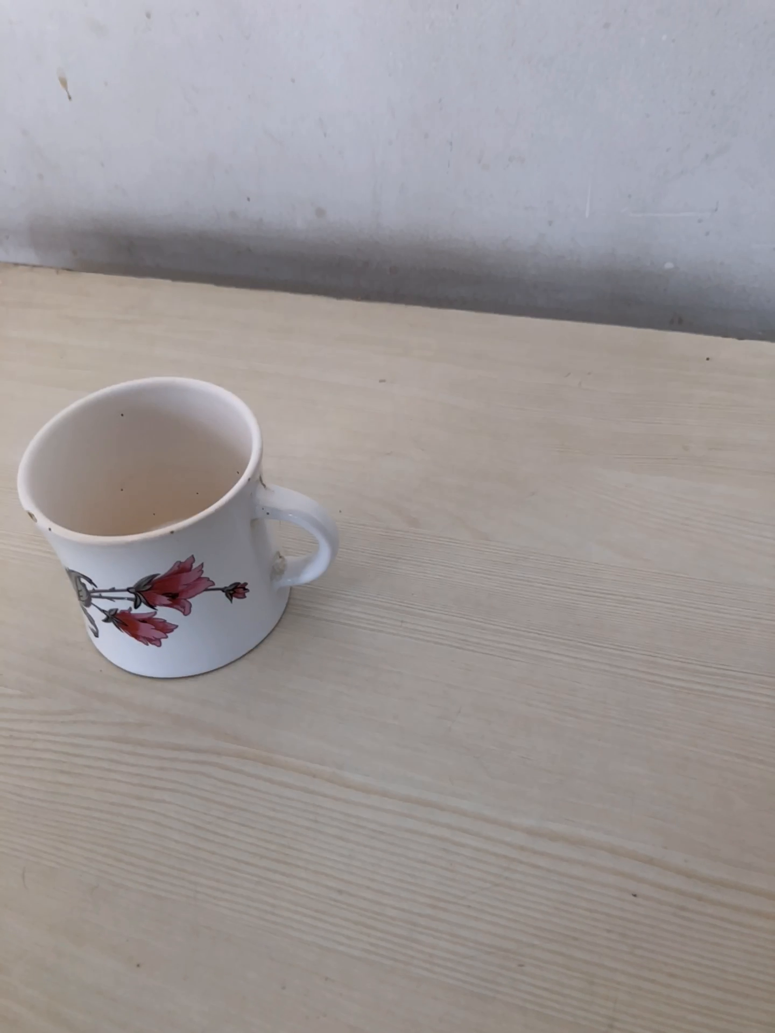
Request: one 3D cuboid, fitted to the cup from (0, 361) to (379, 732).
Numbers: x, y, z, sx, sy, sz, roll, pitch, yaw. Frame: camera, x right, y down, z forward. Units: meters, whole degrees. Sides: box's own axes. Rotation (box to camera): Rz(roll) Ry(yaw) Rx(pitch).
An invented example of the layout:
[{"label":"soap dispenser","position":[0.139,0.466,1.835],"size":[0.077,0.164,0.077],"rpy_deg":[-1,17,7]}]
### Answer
[{"label":"cup","position":[-0.057,0.007,0.268],"size":[0.090,0.070,0.081],"rpy_deg":[6,45,11]}]
